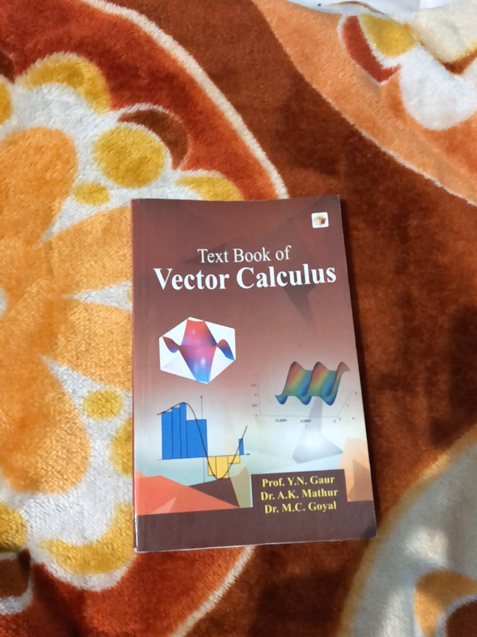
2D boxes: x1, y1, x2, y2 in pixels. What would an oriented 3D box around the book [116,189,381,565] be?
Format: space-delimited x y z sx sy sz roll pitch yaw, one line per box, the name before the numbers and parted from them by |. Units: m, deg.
book | 0.000 0.025 0.318 0.140 0.020 0.210 -2 76 -5
